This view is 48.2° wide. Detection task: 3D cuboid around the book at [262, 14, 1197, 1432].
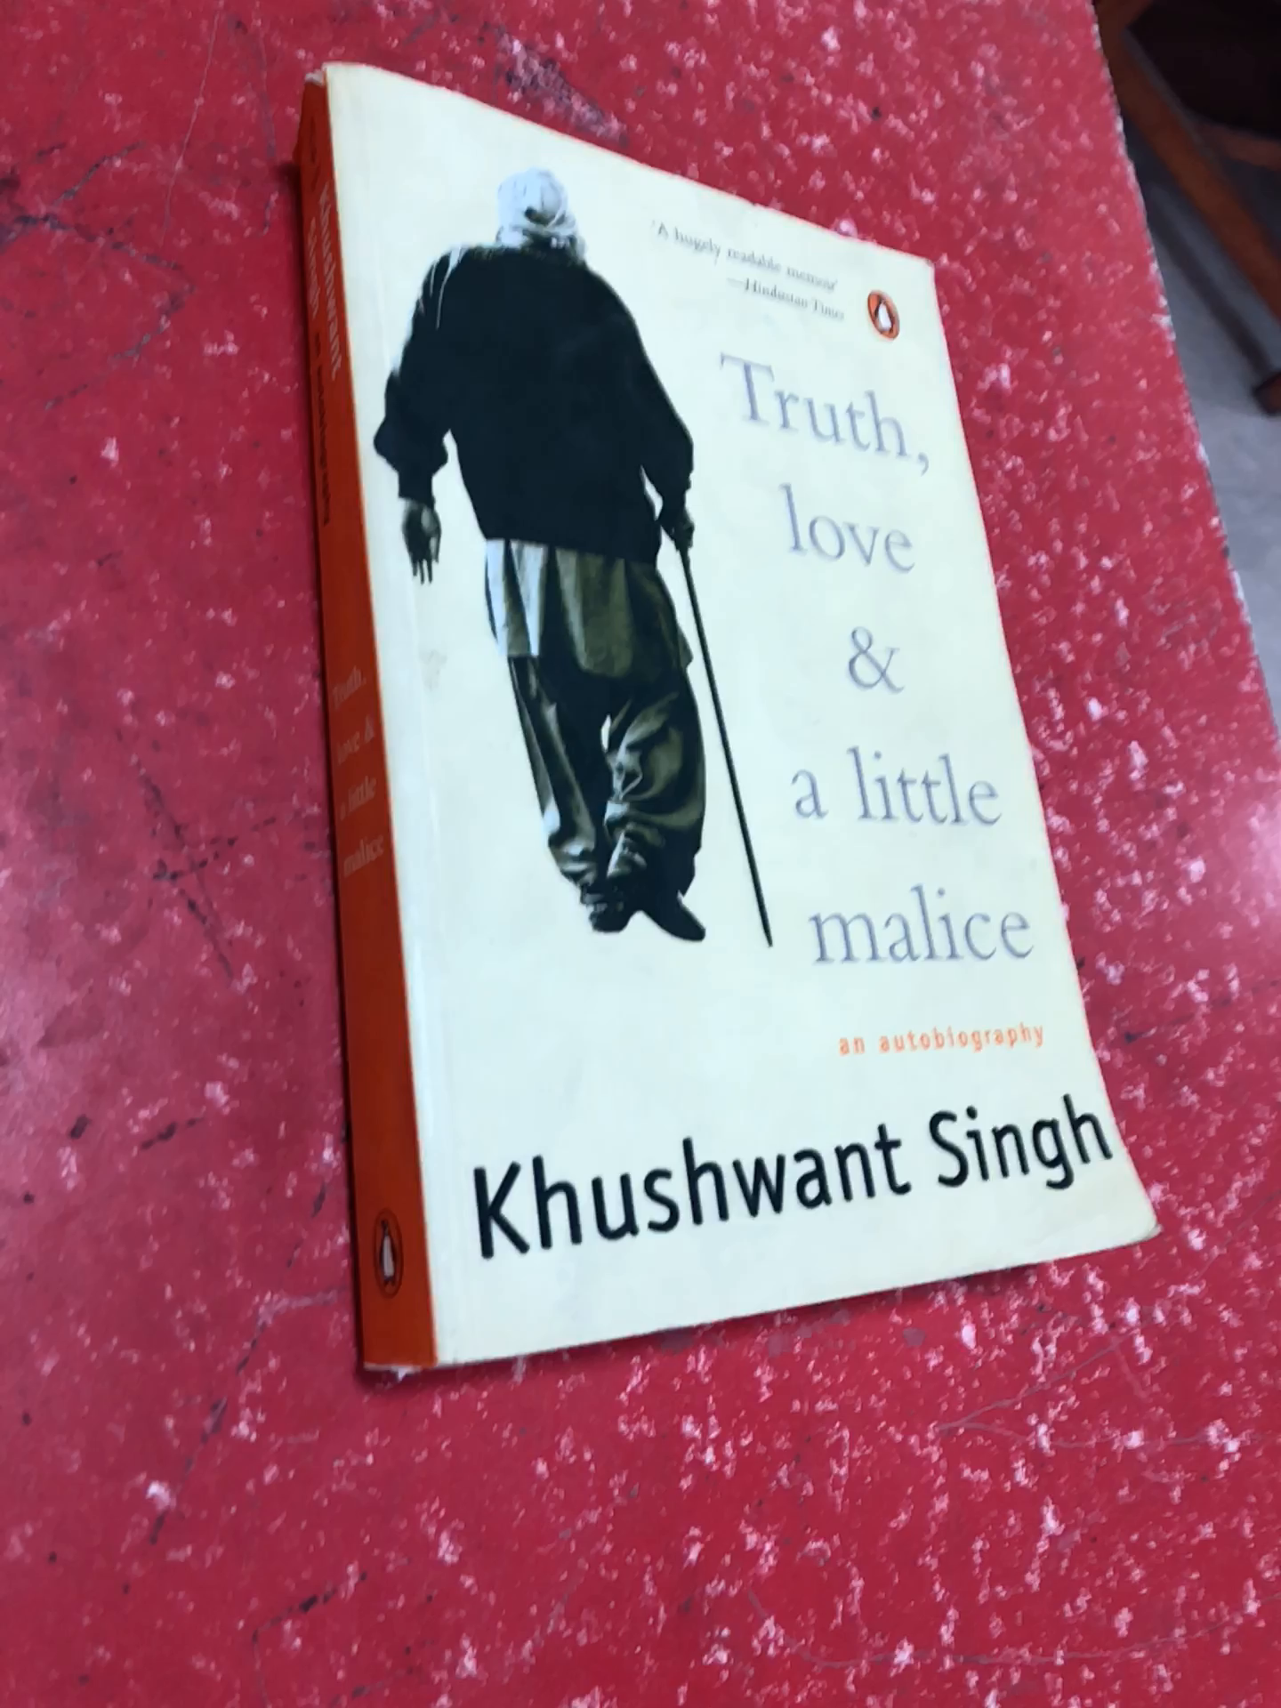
[{"bbox_3d":[0.014,-0.023,0.252,0.140,0.040,0.210,3,73,-32],"label":"book"}]
